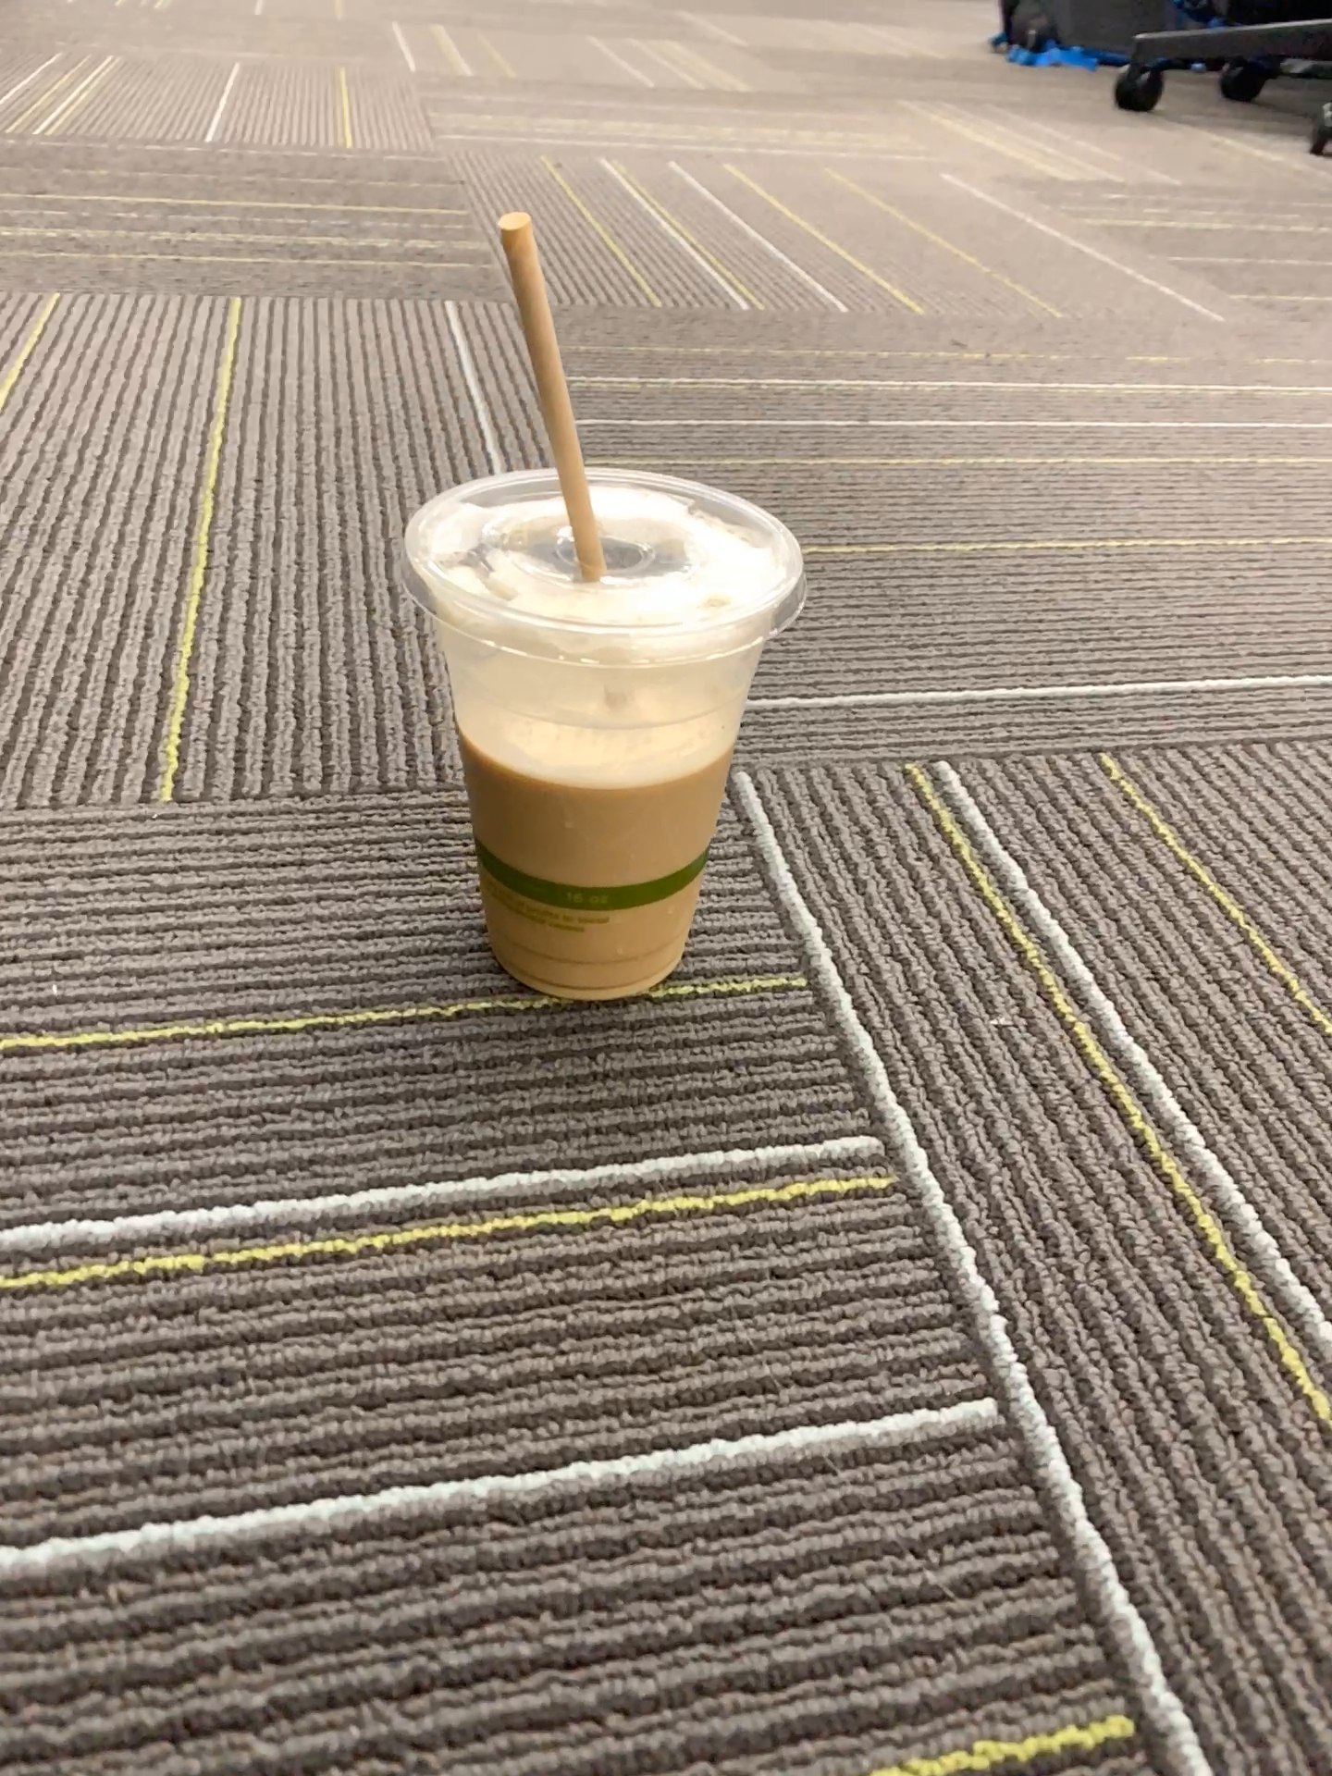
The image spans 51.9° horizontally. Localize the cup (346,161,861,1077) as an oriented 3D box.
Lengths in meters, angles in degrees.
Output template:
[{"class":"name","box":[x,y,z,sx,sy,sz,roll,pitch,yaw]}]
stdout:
[{"class":"cup","box":[-0.013,-0.060,0.333,0.090,0.189,0.091,3,36,-2]}]
